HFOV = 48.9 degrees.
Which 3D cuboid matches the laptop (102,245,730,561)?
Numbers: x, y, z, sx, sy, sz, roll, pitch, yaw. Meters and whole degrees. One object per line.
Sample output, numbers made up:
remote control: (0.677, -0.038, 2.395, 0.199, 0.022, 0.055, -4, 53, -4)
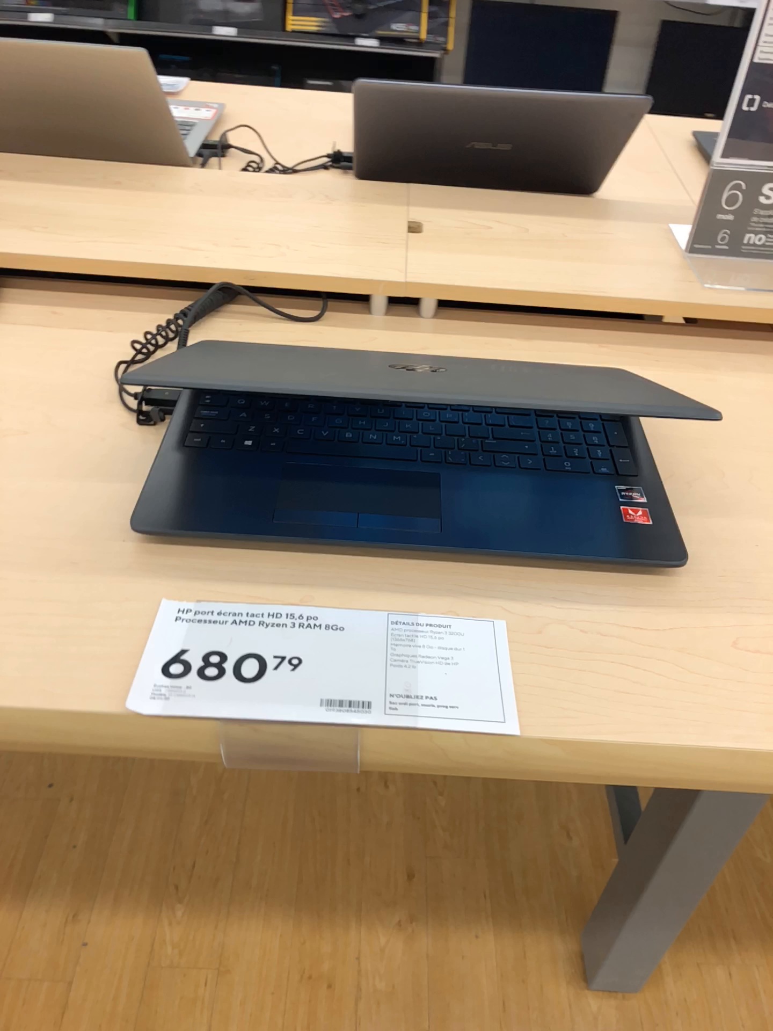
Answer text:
laptop: (0.023, -0.091, 0.615, 0.366, 0.090, 0.243, 3, 40, -3)
